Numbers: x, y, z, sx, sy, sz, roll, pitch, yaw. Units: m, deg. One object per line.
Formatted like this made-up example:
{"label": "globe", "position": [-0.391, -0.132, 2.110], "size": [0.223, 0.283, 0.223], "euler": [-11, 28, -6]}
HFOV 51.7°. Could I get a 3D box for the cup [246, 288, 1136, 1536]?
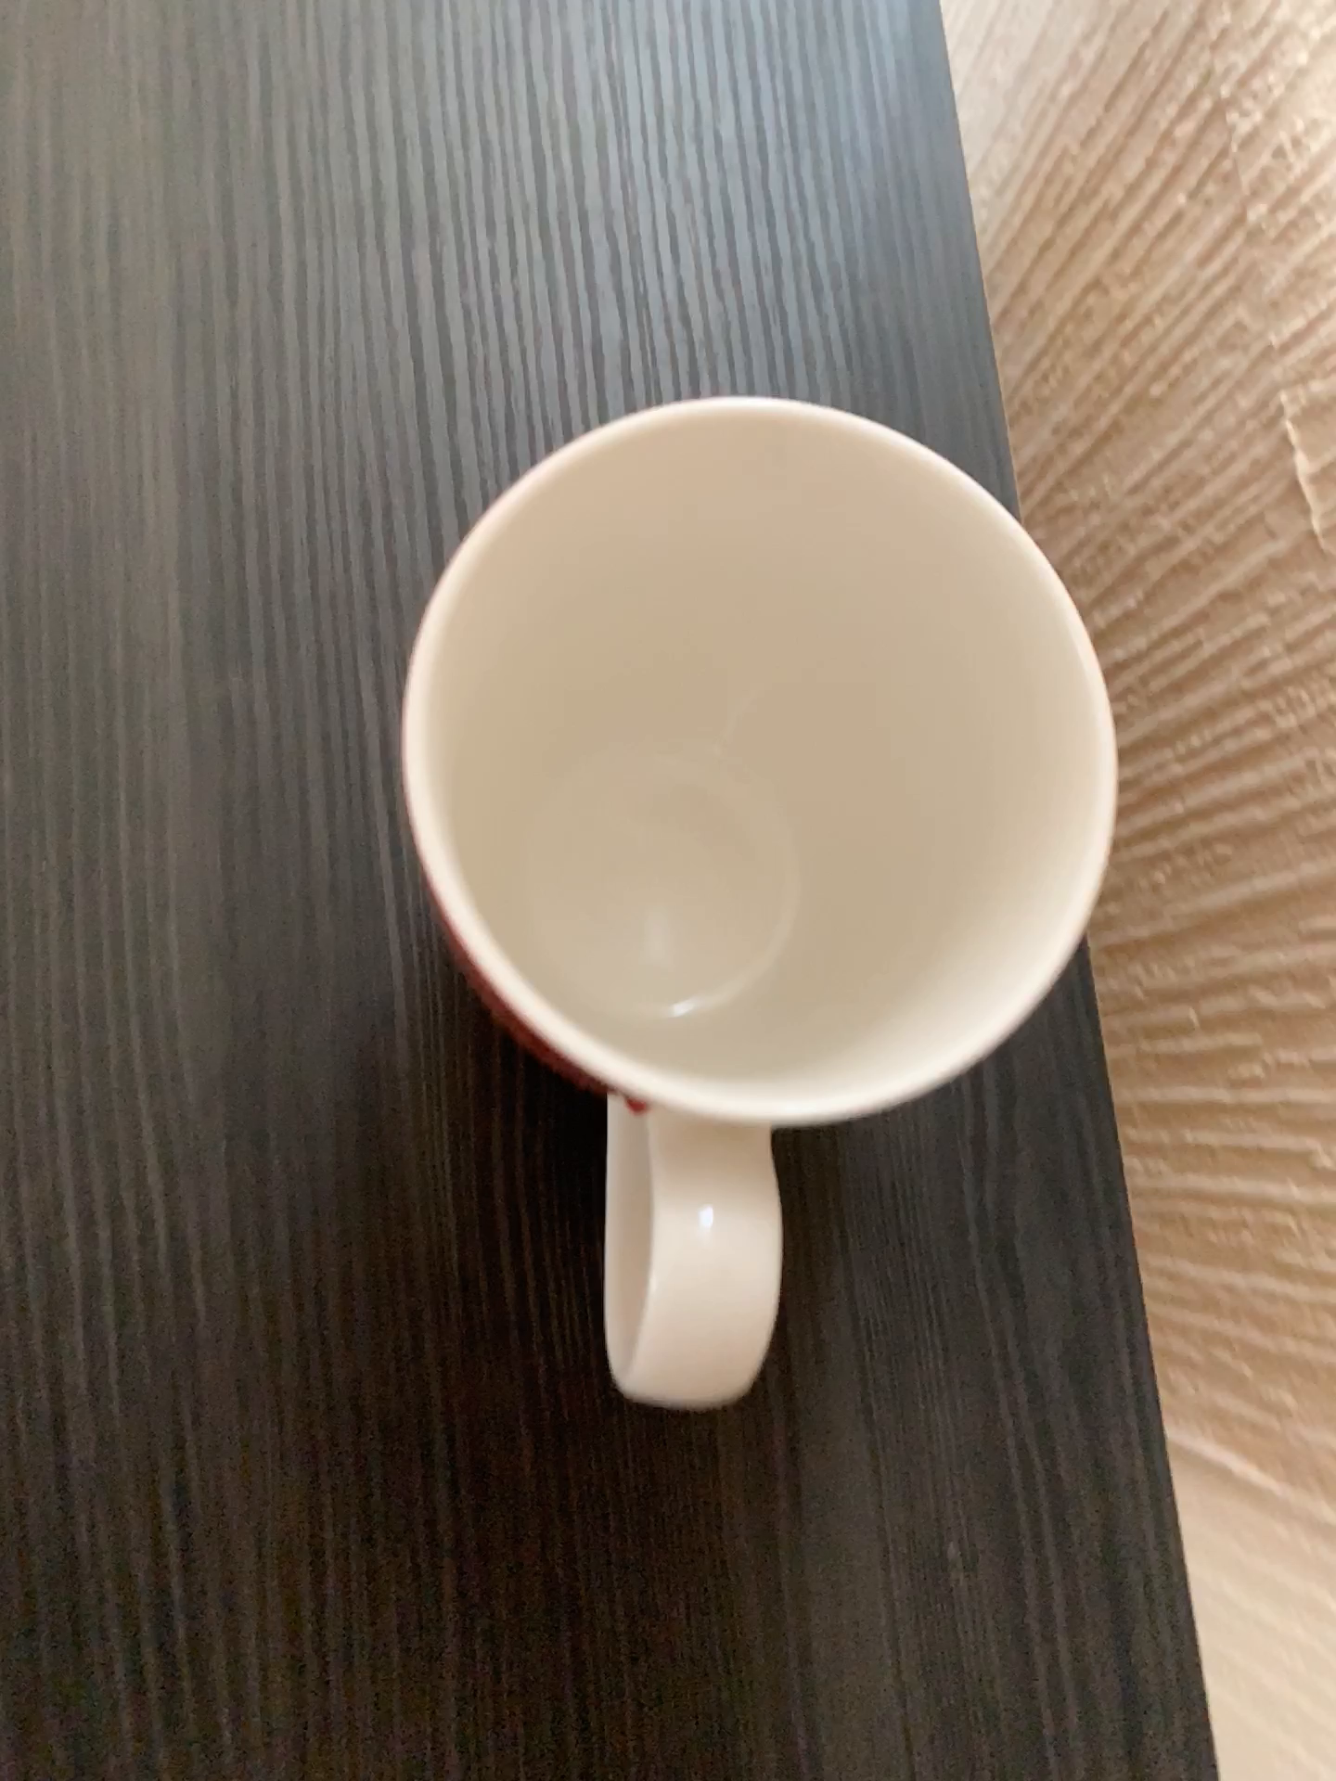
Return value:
{"label": "cup", "position": [0.002, 0.007, 0.194], "size": [0.090, 0.090, 0.130], "euler": [5, 80, -7]}
